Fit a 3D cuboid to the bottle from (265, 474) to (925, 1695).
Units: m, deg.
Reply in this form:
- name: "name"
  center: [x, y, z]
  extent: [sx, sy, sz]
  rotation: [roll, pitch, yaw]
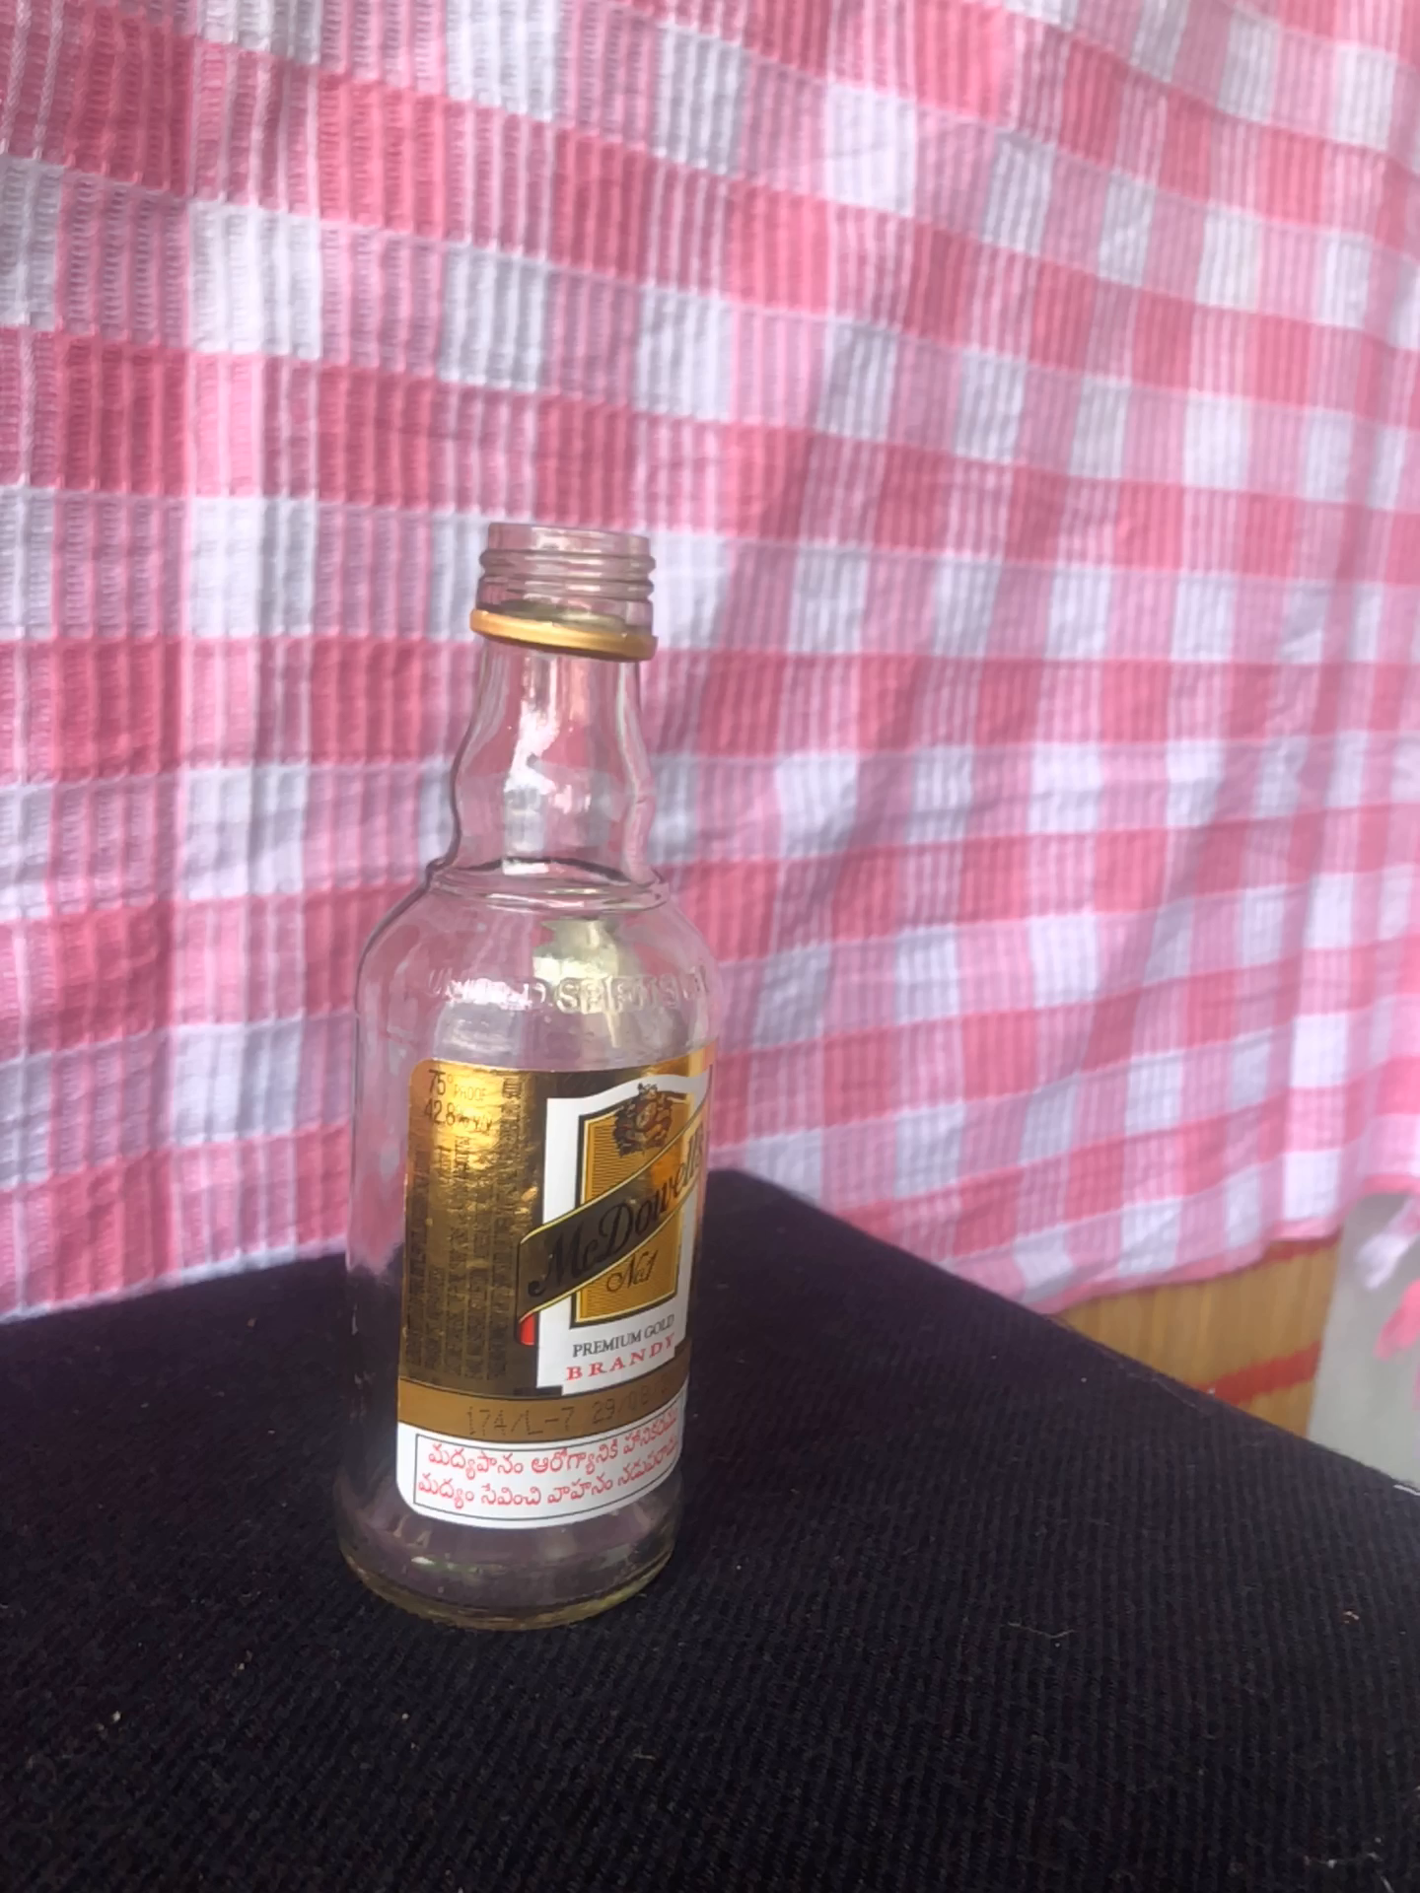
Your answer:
- name: "bottle"
  center: [-0.020, 0.015, 0.224]
  extent: [0.060, 0.150, 0.050]
  rotation: [-2, 15, -37]
